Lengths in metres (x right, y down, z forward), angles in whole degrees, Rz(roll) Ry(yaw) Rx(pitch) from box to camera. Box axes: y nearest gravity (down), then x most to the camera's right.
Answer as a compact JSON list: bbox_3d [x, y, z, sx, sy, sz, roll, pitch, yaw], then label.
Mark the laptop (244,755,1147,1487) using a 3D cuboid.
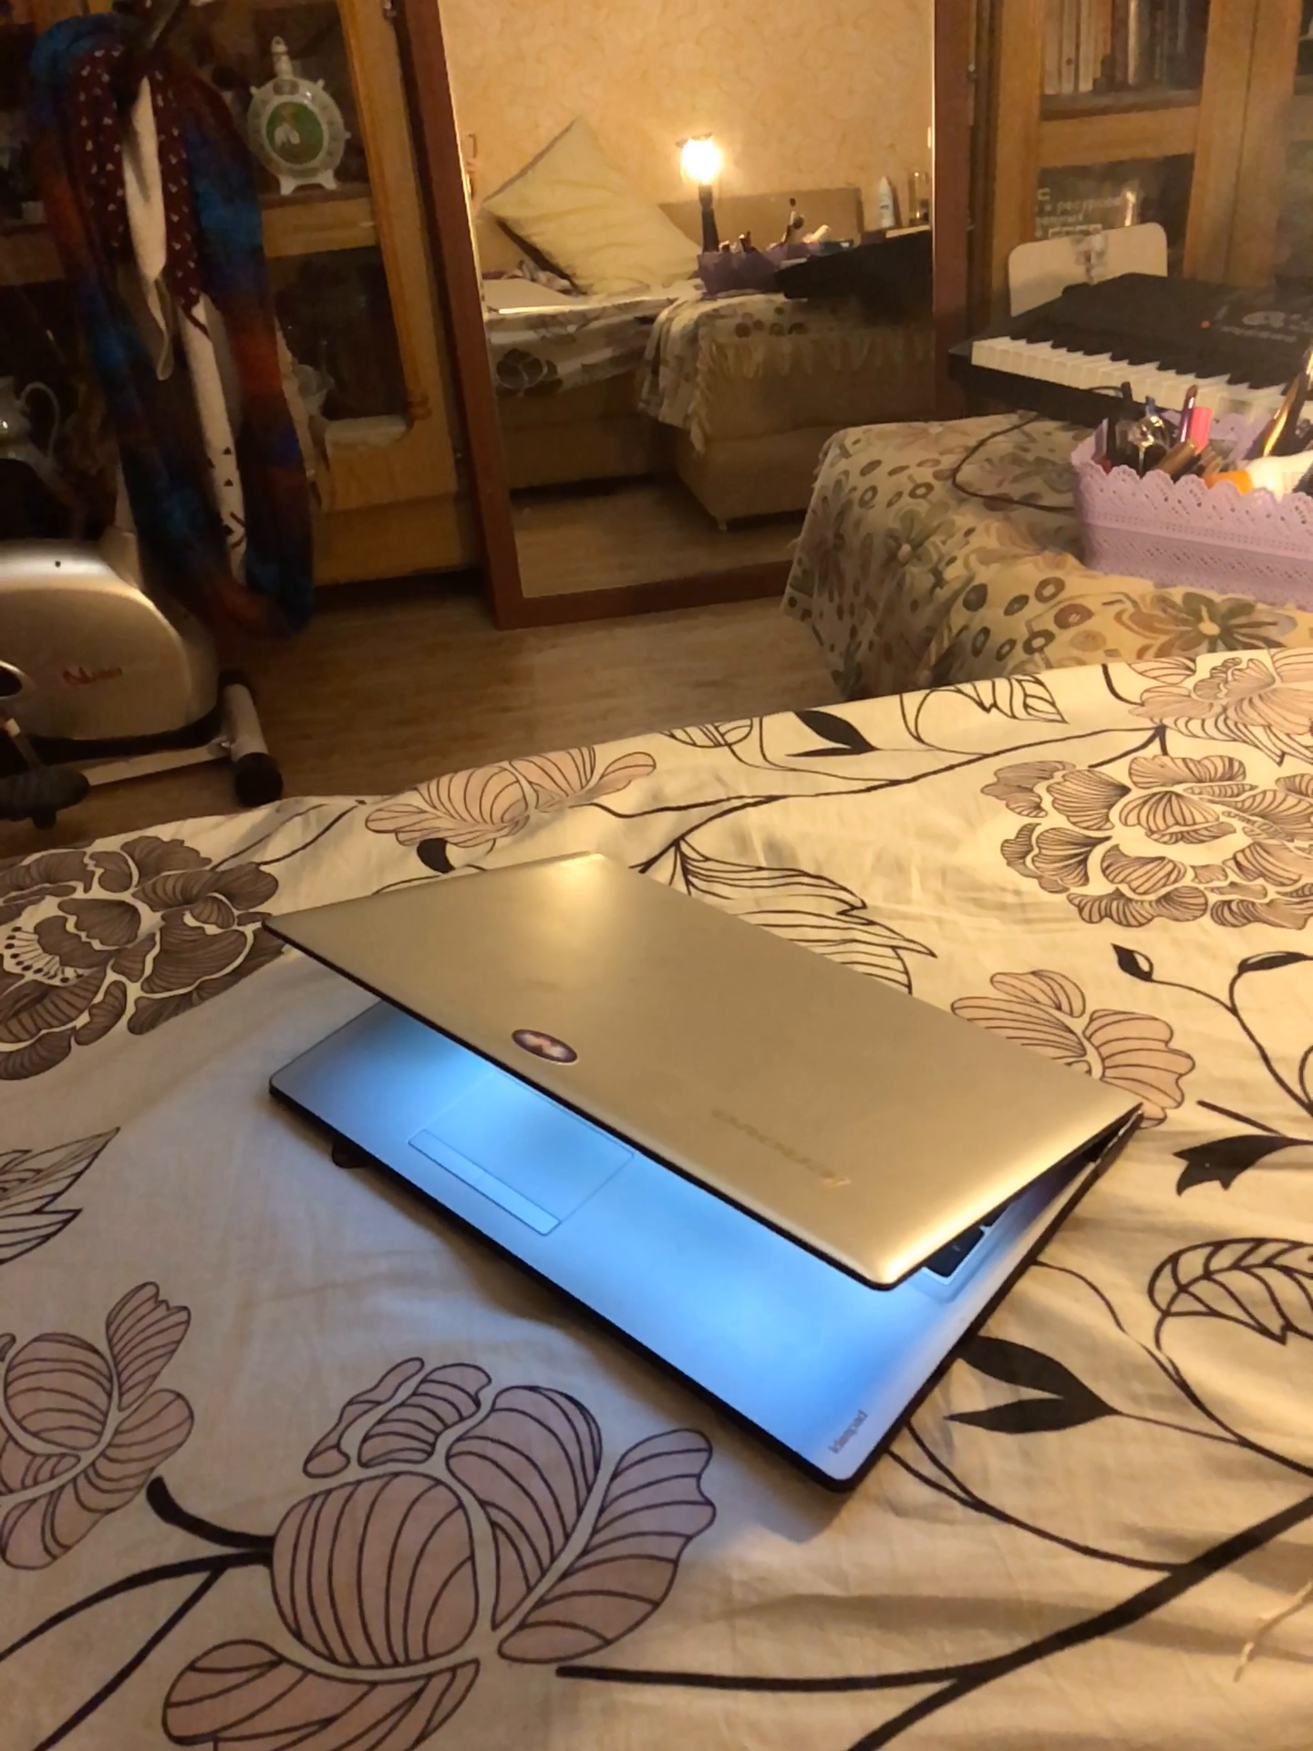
[{"bbox_3d":[0.011,0.080,0.728,0.381,0.082,0.257,23,42,37],"label":"laptop"}]
